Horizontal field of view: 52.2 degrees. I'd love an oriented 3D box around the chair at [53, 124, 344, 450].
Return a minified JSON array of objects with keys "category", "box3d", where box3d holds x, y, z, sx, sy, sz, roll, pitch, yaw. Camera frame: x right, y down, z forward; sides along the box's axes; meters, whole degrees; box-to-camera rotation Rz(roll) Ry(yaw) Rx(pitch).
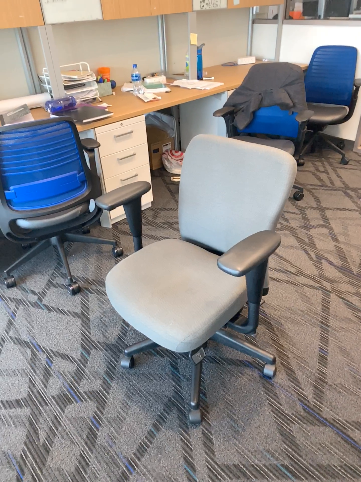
[{"category":"chair","box3d":[0.059,0.097,1.409,0.663,0.813,0.673,-27,40,-32]}]
